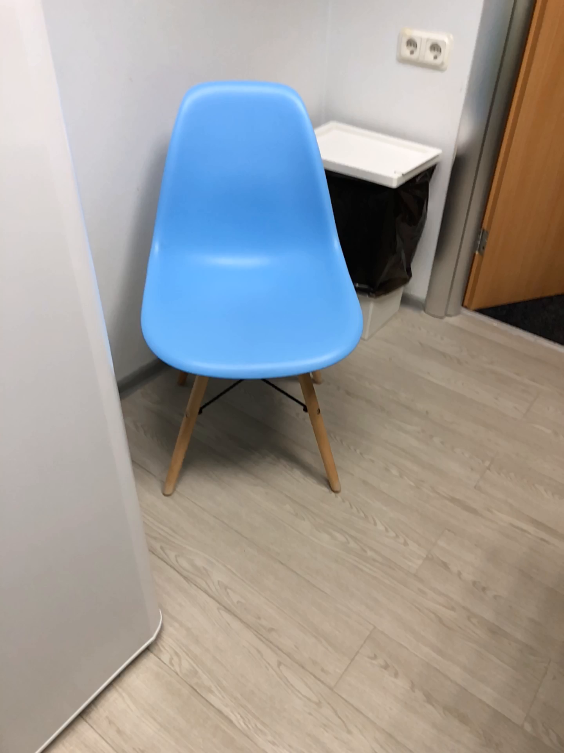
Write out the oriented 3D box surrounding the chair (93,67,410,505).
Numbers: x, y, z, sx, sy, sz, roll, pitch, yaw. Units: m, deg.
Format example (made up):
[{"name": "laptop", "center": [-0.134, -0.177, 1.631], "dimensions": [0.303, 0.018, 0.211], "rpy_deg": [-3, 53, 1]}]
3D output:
[{"name": "chair", "center": [-0.059, -0.183, 1.345], "dimensions": [0.460, 0.774, 0.534], "rpy_deg": [0, 39, -2]}]
